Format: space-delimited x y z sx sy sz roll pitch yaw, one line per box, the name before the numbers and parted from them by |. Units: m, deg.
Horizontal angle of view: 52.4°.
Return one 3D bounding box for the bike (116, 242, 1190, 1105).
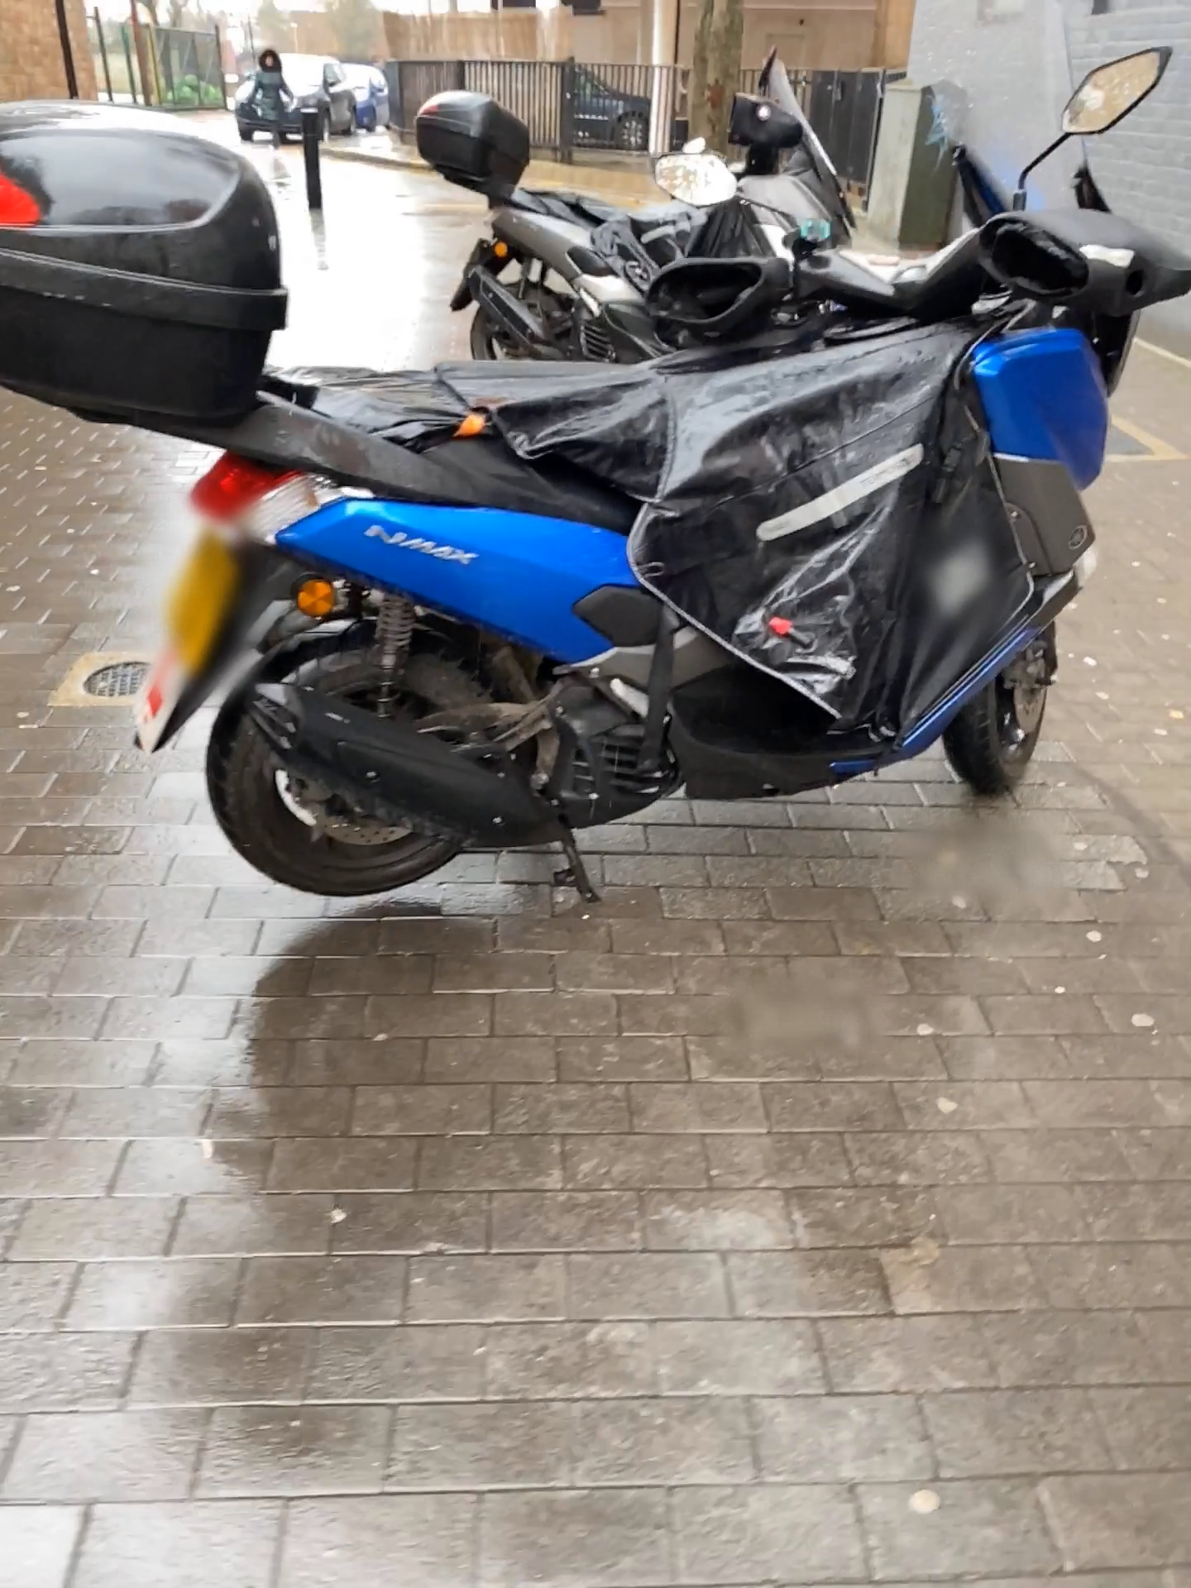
bike | 0.219 -0.341 2.046 1.735 0.998 0.680 -13 32 -24
